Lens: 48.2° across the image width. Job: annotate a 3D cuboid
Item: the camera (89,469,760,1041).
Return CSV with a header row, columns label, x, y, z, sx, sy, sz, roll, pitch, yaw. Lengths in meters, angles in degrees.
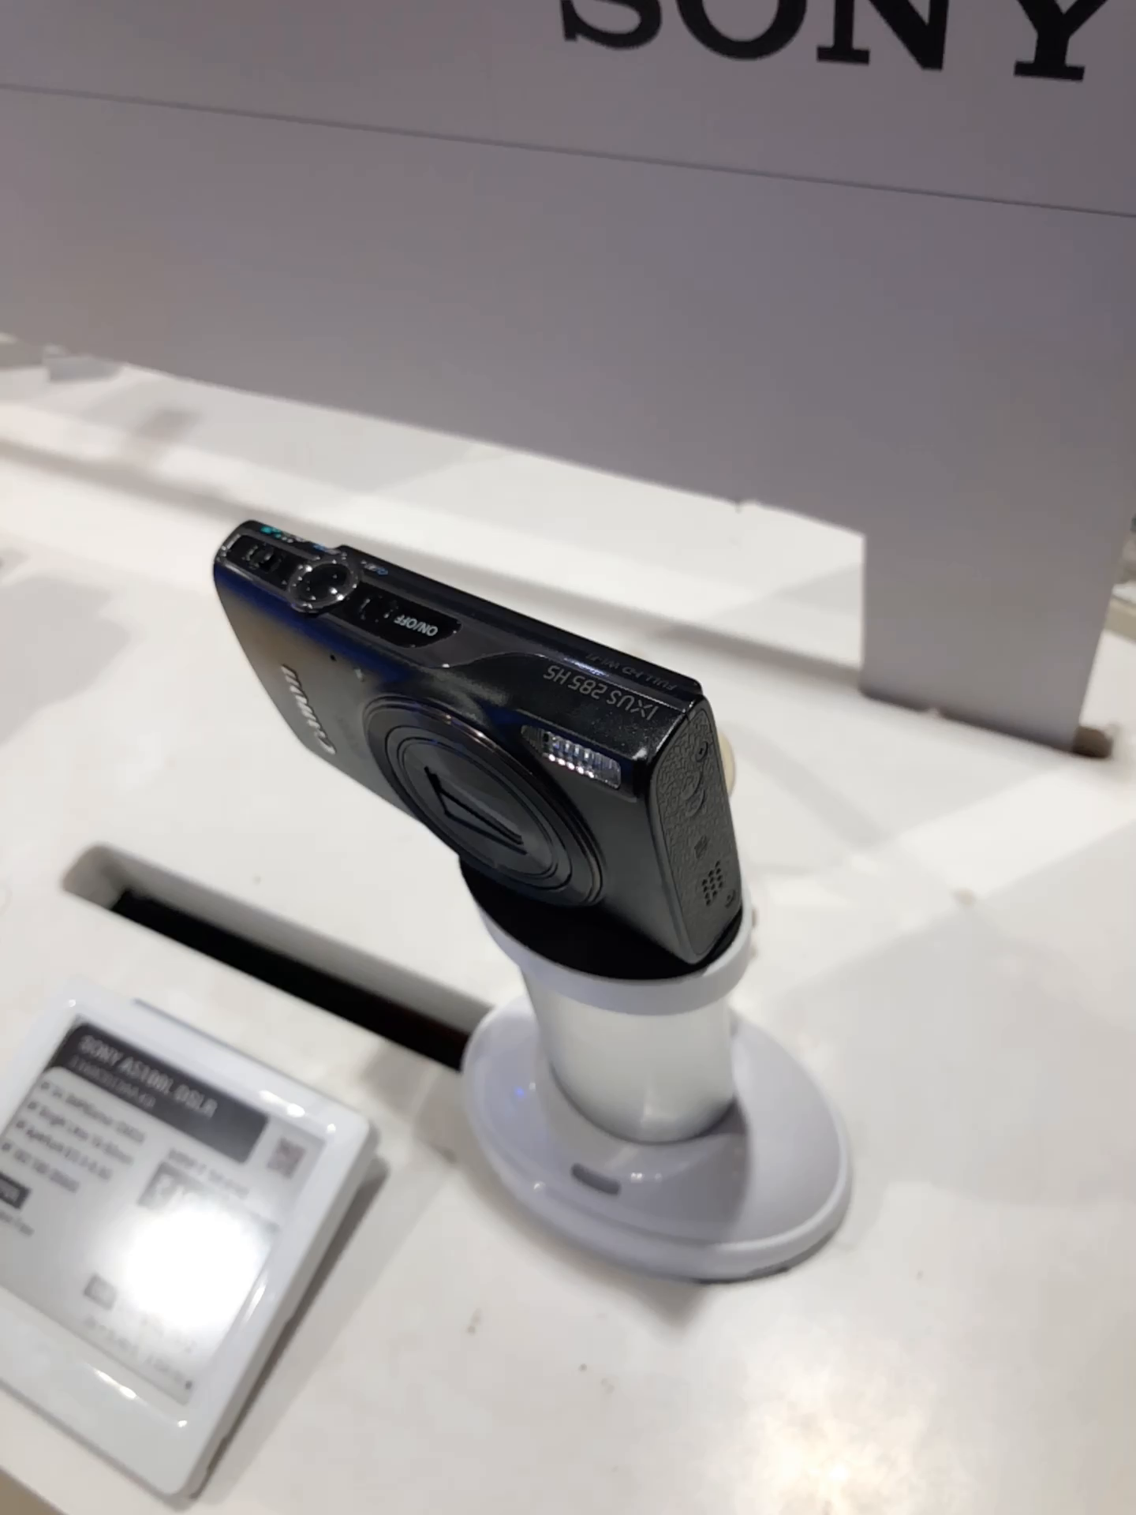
label,x,y,z,sx,sy,sz,roll,pitch,yaw
camera,-0.023,-0.002,0.219,0.110,0.060,0.030,25,59,27
